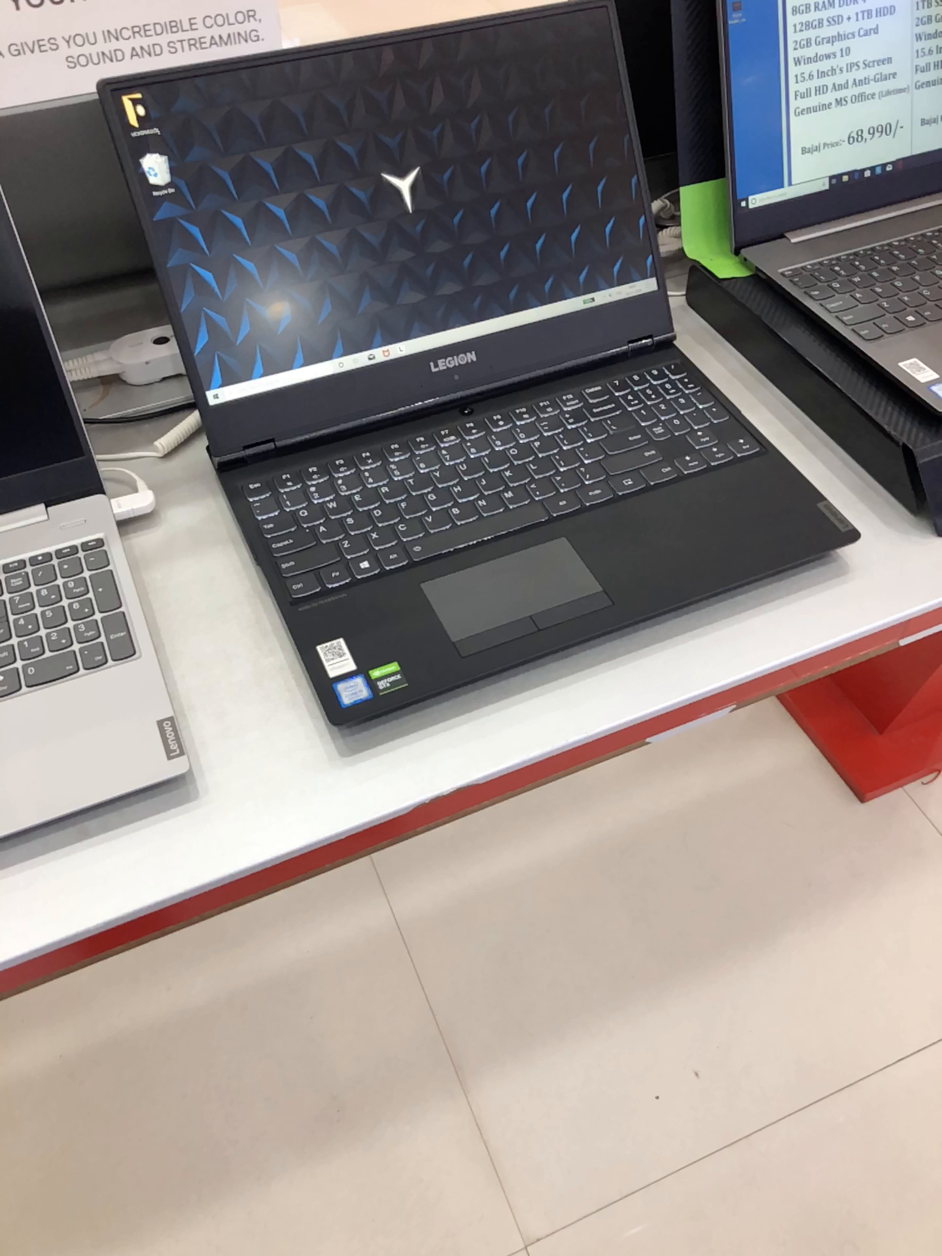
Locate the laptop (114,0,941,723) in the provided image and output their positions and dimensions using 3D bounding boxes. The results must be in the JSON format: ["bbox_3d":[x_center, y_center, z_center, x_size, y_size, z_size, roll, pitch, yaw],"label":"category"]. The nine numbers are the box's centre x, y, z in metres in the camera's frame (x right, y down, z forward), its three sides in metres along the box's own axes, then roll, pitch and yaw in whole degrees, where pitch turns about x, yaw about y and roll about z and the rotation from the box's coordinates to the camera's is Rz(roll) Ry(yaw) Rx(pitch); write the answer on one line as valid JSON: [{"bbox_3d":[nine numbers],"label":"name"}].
[{"bbox_3d":[0.015,-0.188,0.618,0.334,0.191,0.348,-19,52,-16],"label":"laptop"}]
